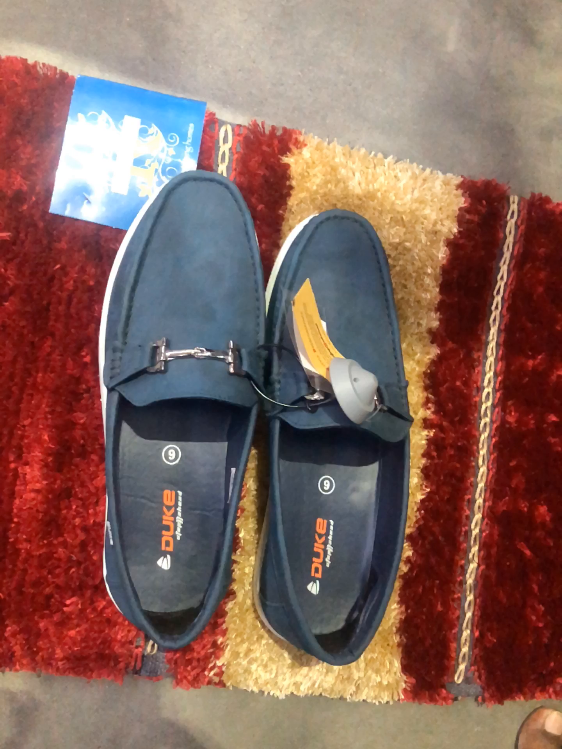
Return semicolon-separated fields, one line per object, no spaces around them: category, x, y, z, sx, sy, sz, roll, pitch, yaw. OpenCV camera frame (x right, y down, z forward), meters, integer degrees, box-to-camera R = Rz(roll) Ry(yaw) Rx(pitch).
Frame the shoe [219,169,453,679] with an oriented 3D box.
shoe;0.031;0.030;0.396;0.100;0.090;0.280;7;85;-13

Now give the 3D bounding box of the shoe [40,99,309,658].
shoe;-0.060;0.005;0.365;0.110;0.090;0.280;6;85;-13
